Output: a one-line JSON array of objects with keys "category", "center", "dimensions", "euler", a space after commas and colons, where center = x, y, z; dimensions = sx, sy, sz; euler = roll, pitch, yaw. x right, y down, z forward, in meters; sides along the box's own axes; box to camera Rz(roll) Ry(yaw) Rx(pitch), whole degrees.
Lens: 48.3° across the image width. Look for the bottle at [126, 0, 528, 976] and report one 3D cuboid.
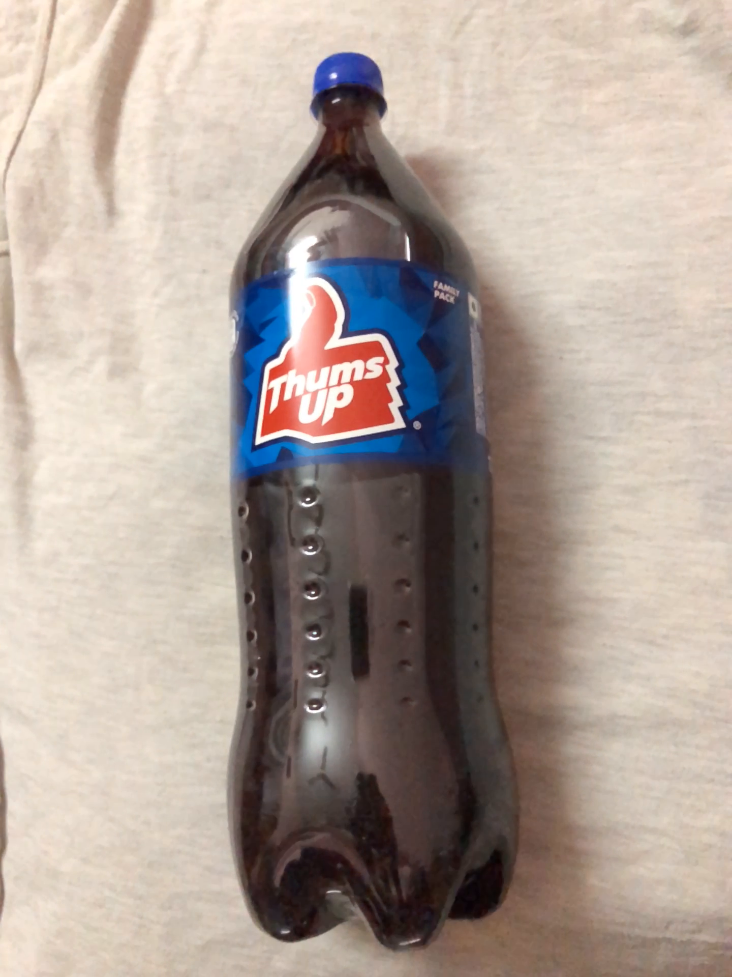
[{"category": "bottle", "center": [-0.015, -0.021, 0.262], "dimensions": [0.100, 0.060, 0.300], "euler": [-6, 78, 16]}]
